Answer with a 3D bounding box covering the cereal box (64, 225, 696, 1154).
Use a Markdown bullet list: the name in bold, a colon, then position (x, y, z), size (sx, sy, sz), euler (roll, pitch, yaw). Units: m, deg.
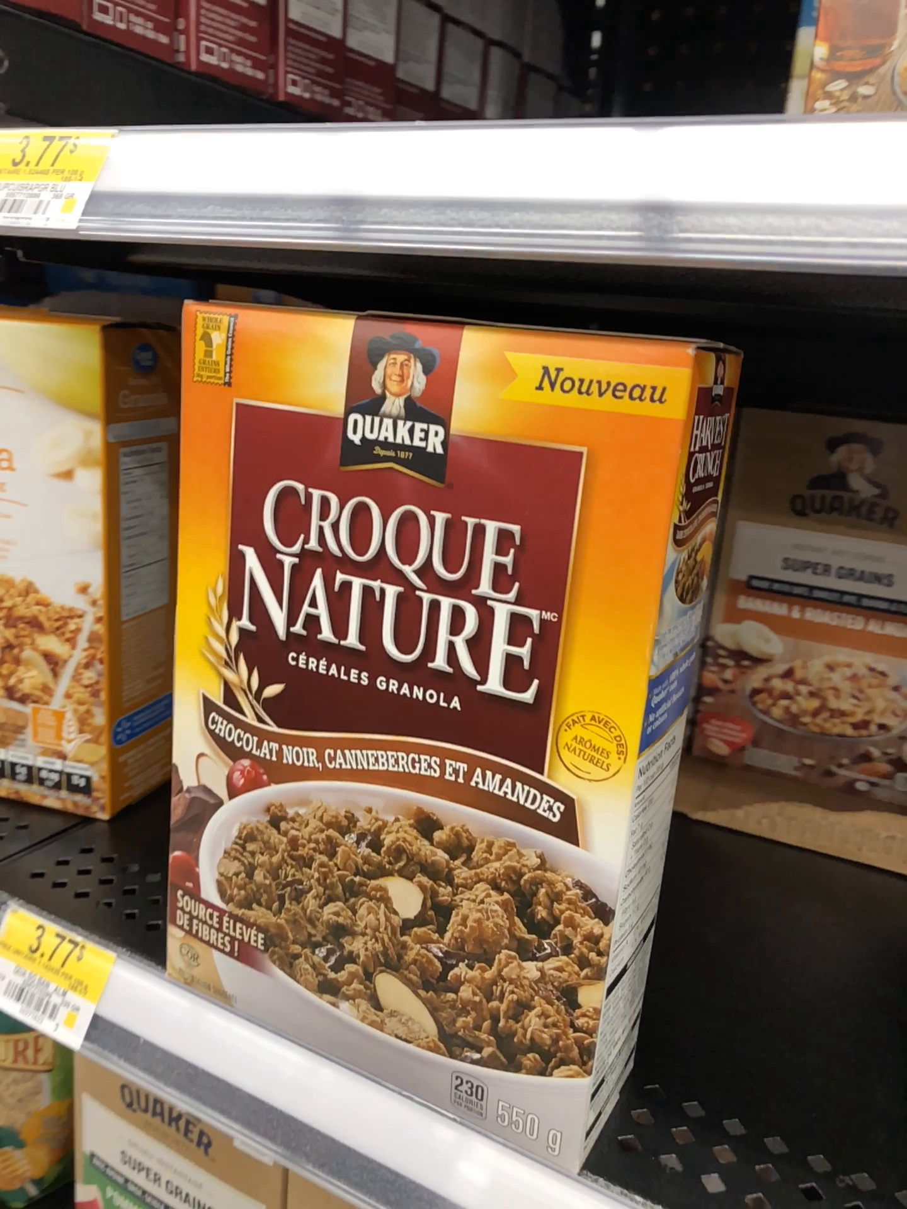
- **cereal box**: position (-0.034, 0.014, 0.298), size (0.170, 0.229, 0.050), euler (13, 17, 28)
